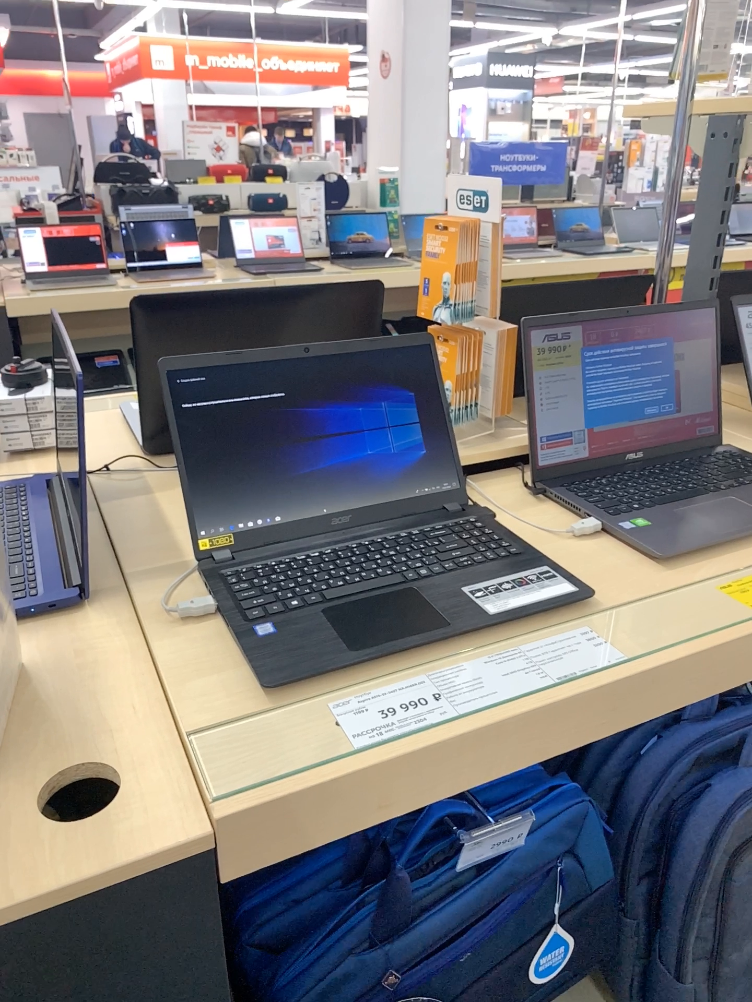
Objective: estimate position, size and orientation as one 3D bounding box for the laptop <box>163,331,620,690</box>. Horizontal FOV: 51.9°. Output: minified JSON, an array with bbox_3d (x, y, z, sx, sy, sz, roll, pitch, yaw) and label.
[{"bbox_3d":[-0.005,-0.034,0.880,0.376,0.216,0.376,-11,26,-24],"label":"laptop"}]
